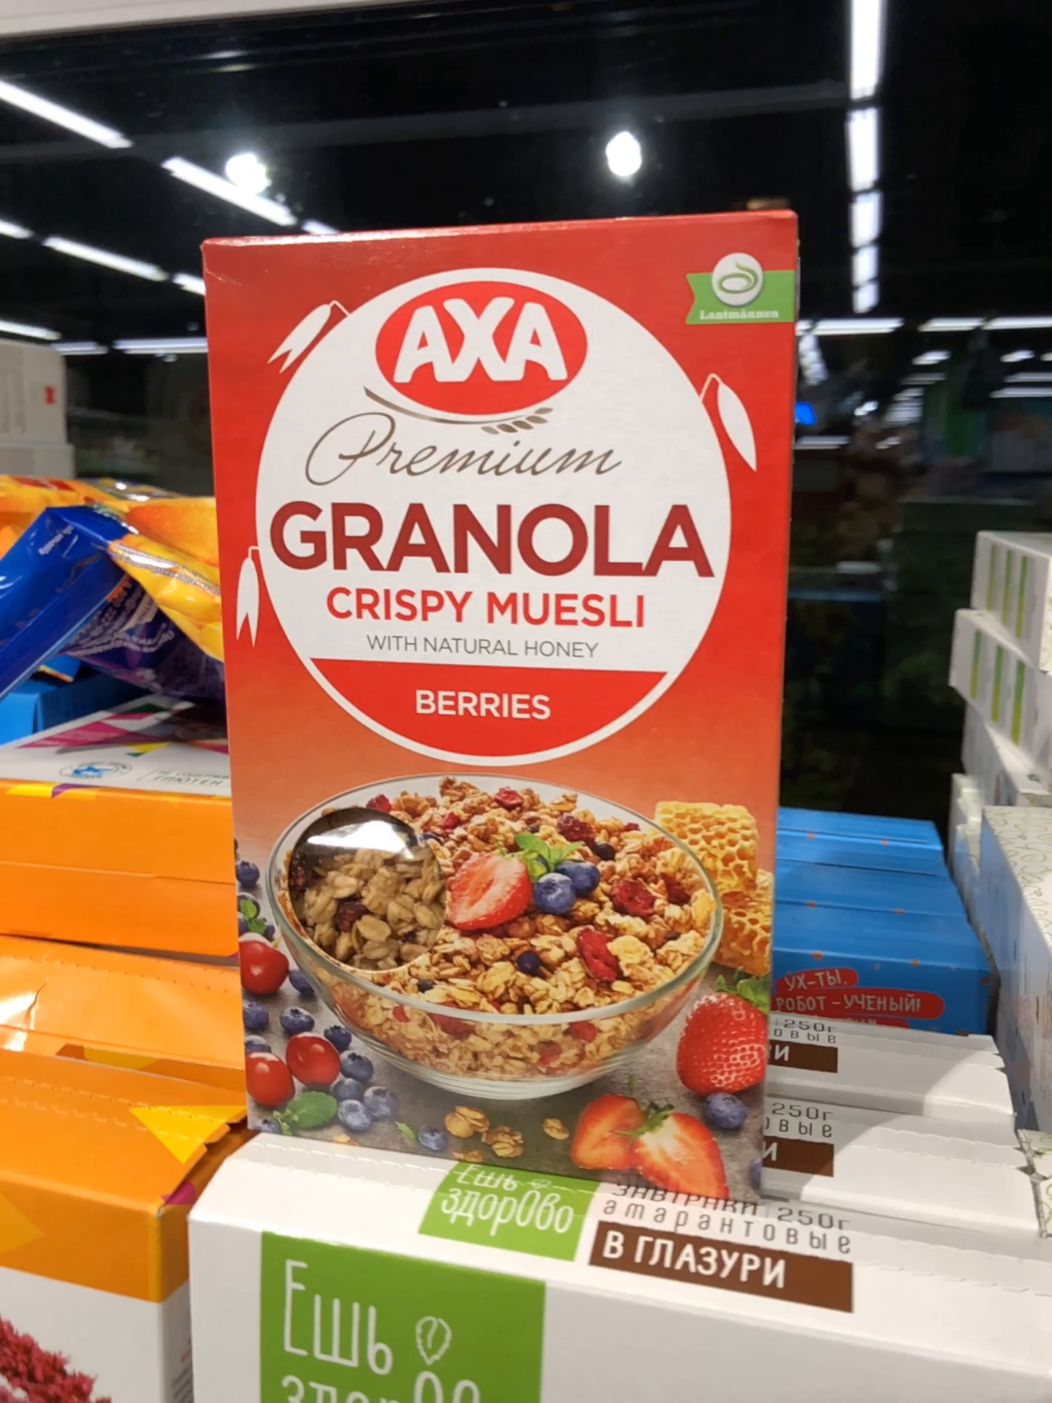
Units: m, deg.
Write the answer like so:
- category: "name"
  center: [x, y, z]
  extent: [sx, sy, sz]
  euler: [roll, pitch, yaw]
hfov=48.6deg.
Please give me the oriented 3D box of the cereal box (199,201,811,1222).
- category: "cereal box"
  center: [-0.003, 0.003, 0.285]
  extent: [0.130, 0.219, 0.050]
  euler: [3, 11, 14]
